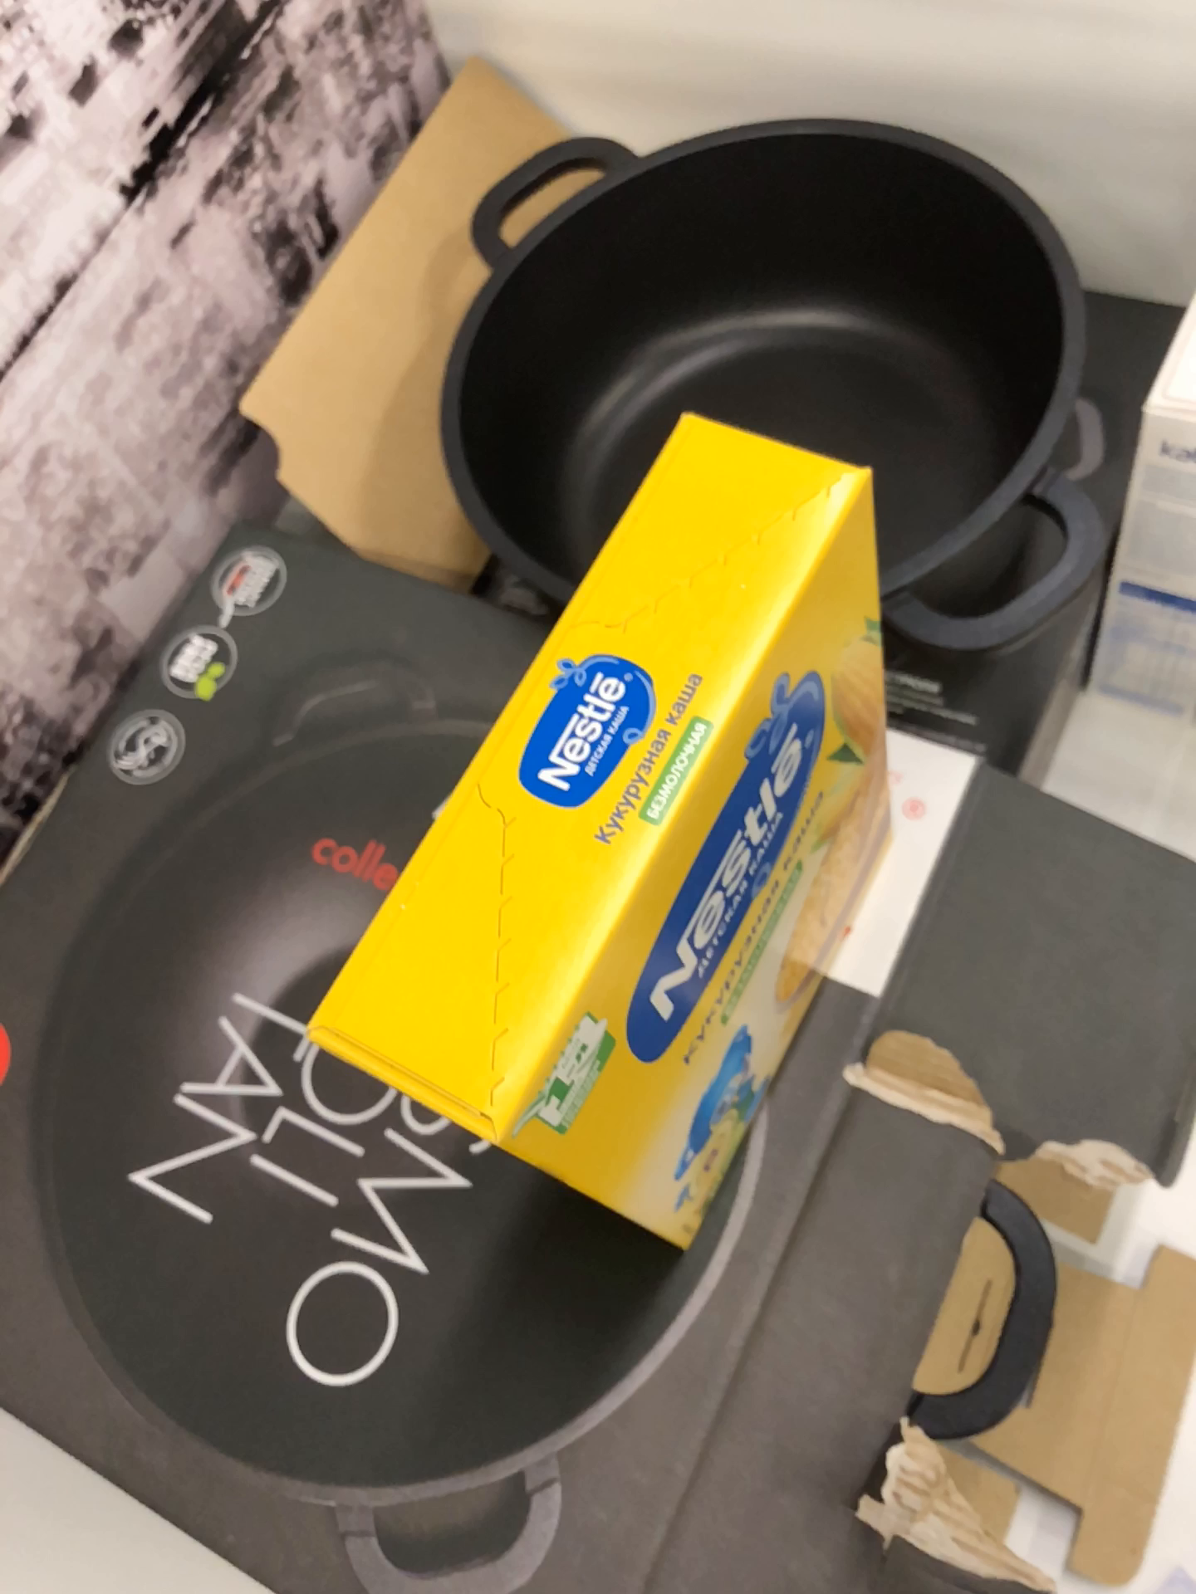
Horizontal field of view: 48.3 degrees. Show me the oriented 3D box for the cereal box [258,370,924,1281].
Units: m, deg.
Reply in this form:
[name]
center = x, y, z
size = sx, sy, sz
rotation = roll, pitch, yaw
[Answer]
[cereal box]
center = 0.023, 0.028, 0.324
size = 0.050, 0.199, 0.150
rotation = 24, 74, 22
